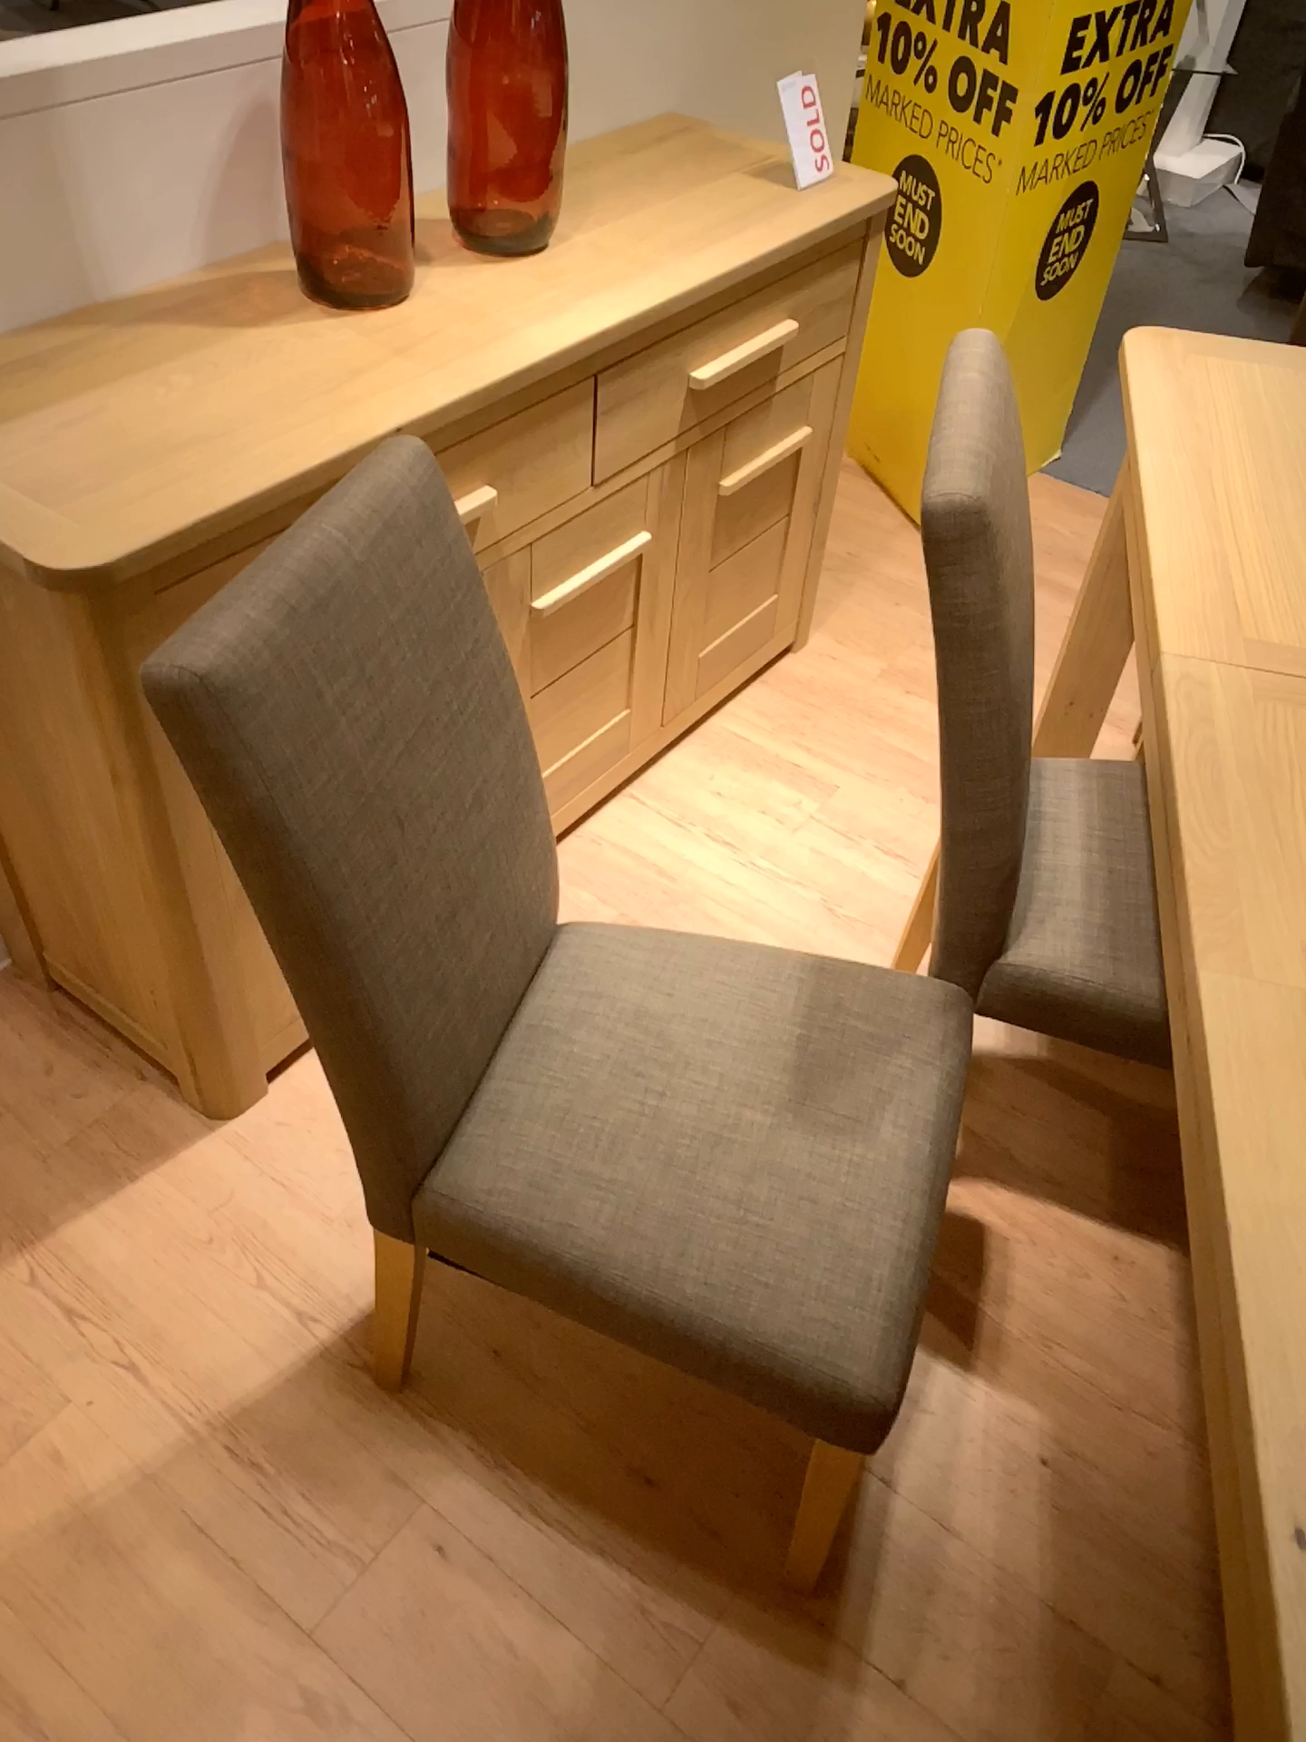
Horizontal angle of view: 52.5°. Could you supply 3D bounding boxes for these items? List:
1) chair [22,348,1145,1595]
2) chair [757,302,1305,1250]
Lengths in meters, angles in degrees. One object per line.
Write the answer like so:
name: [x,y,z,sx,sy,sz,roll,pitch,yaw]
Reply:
chair: [-0.023,0.123,1.182,0.604,0.884,0.511,16,45,11]
chair: [0.448,-0.081,1.392,0.504,0.765,0.501,12,44,7]
